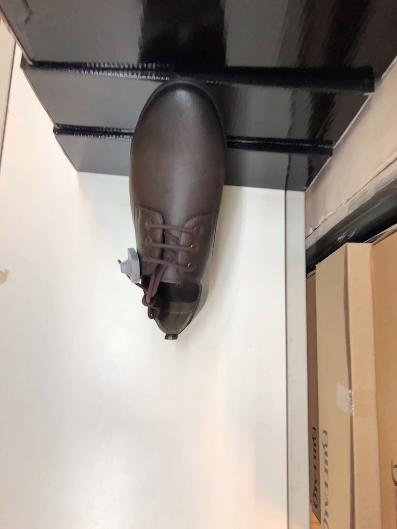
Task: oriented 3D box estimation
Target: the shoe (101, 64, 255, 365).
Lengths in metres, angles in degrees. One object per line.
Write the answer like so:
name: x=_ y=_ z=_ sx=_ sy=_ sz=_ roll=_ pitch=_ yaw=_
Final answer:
shoe: x=-0.019 y=-0.043 z=0.446 sx=0.111 sy=0.271 sz=0.116 roll=8 pitch=34 yaw=5
